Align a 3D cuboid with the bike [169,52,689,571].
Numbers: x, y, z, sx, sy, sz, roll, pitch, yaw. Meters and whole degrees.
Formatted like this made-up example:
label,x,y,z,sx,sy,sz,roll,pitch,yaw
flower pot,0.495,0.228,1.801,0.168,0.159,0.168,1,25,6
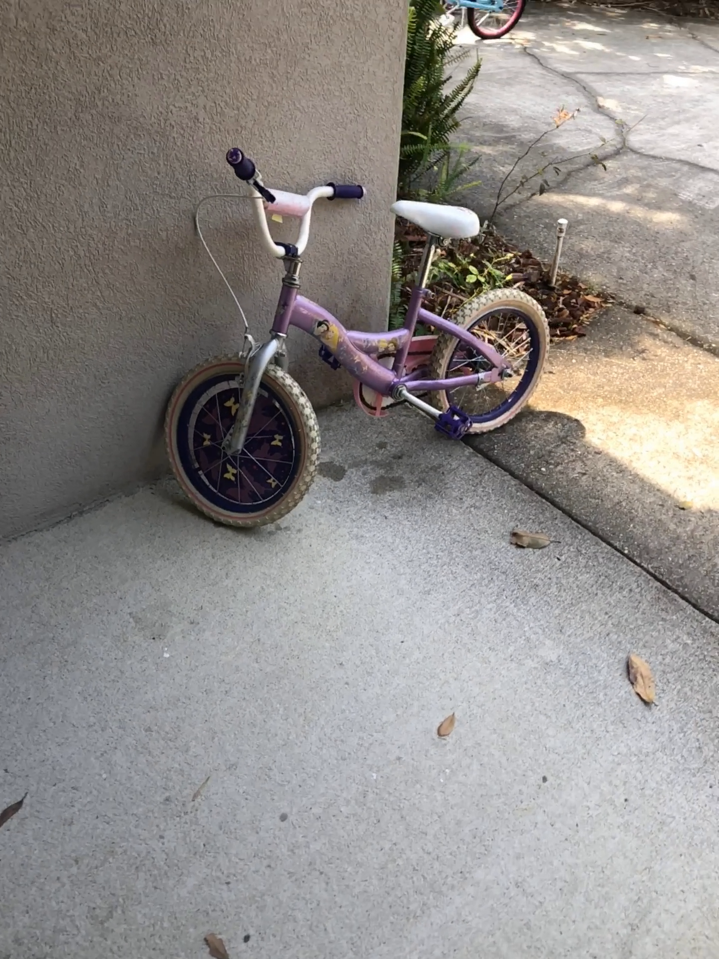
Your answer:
label,x,y,z,sx,sy,sz,roll,pitch,yaw
bike,0.115,-0.425,1.822,0.847,0.815,0.618,-20,45,-24
